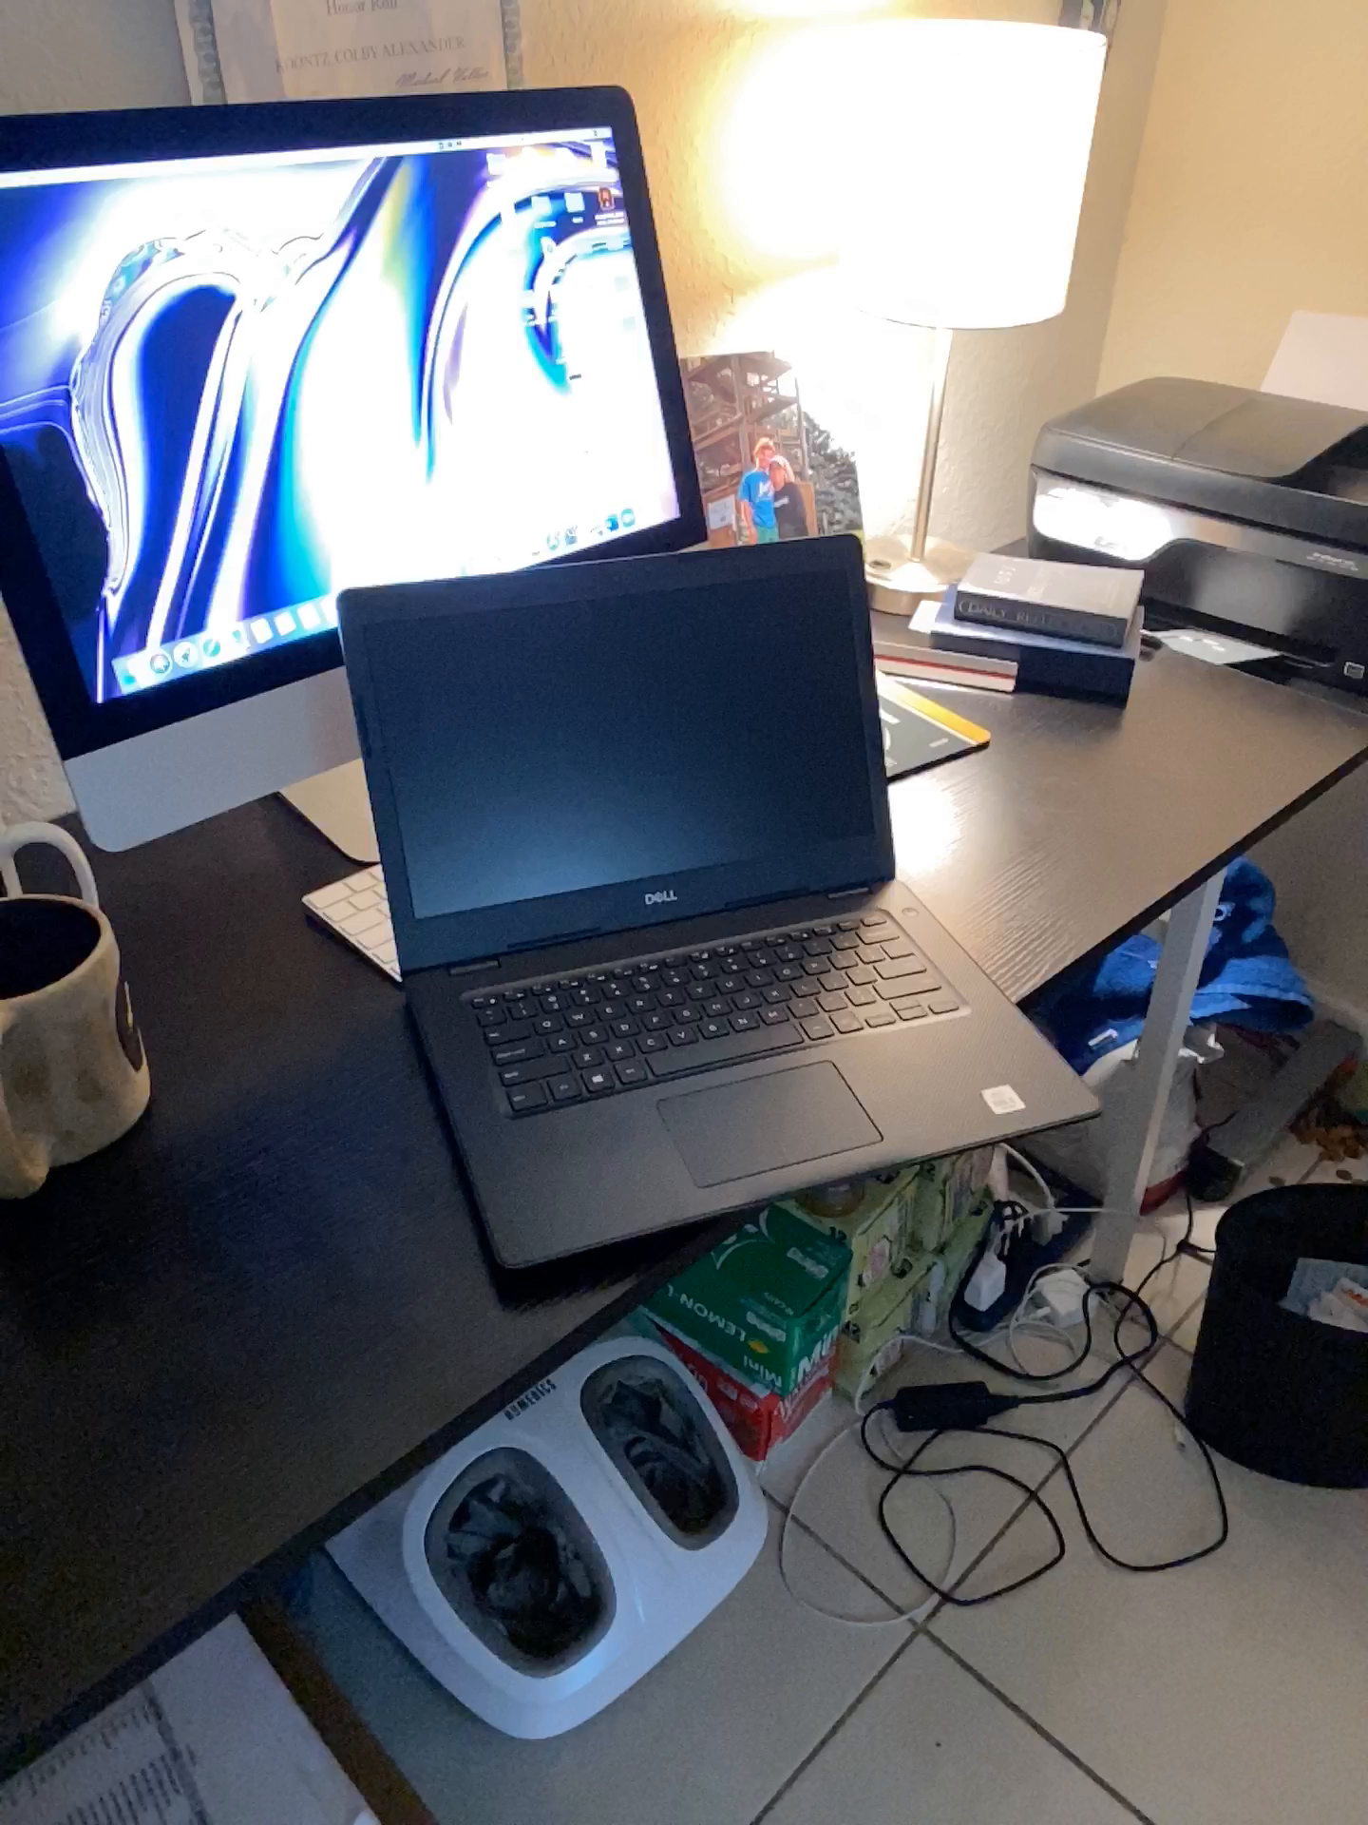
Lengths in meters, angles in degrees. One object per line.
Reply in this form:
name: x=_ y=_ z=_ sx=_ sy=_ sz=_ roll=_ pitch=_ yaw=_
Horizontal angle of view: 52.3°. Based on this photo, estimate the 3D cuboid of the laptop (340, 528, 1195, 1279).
laptop: x=0.017 y=-0.038 z=0.784 sx=0.336 sy=0.206 sz=0.344 roll=-12 pitch=37 yaw=-17
